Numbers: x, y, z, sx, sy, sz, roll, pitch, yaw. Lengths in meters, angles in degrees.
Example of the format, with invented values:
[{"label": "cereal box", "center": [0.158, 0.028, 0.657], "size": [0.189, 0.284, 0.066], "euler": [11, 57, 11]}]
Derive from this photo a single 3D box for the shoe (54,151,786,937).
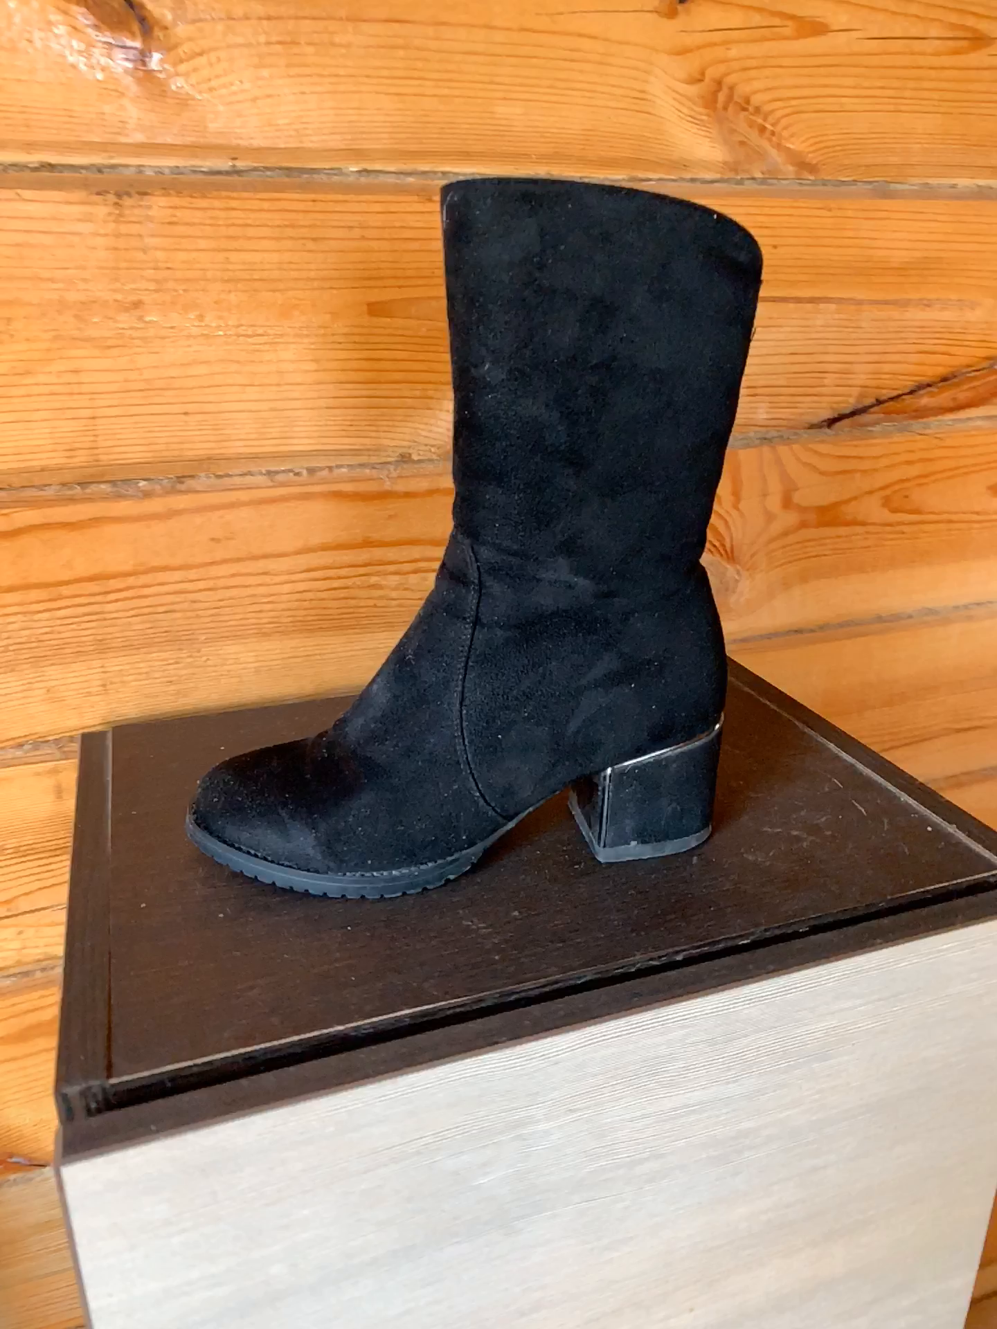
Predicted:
[{"label": "shoe", "center": [-0.026, -0.050, 0.412], "size": [0.232, 0.268, 0.101], "euler": [-5, 20, -12]}]
